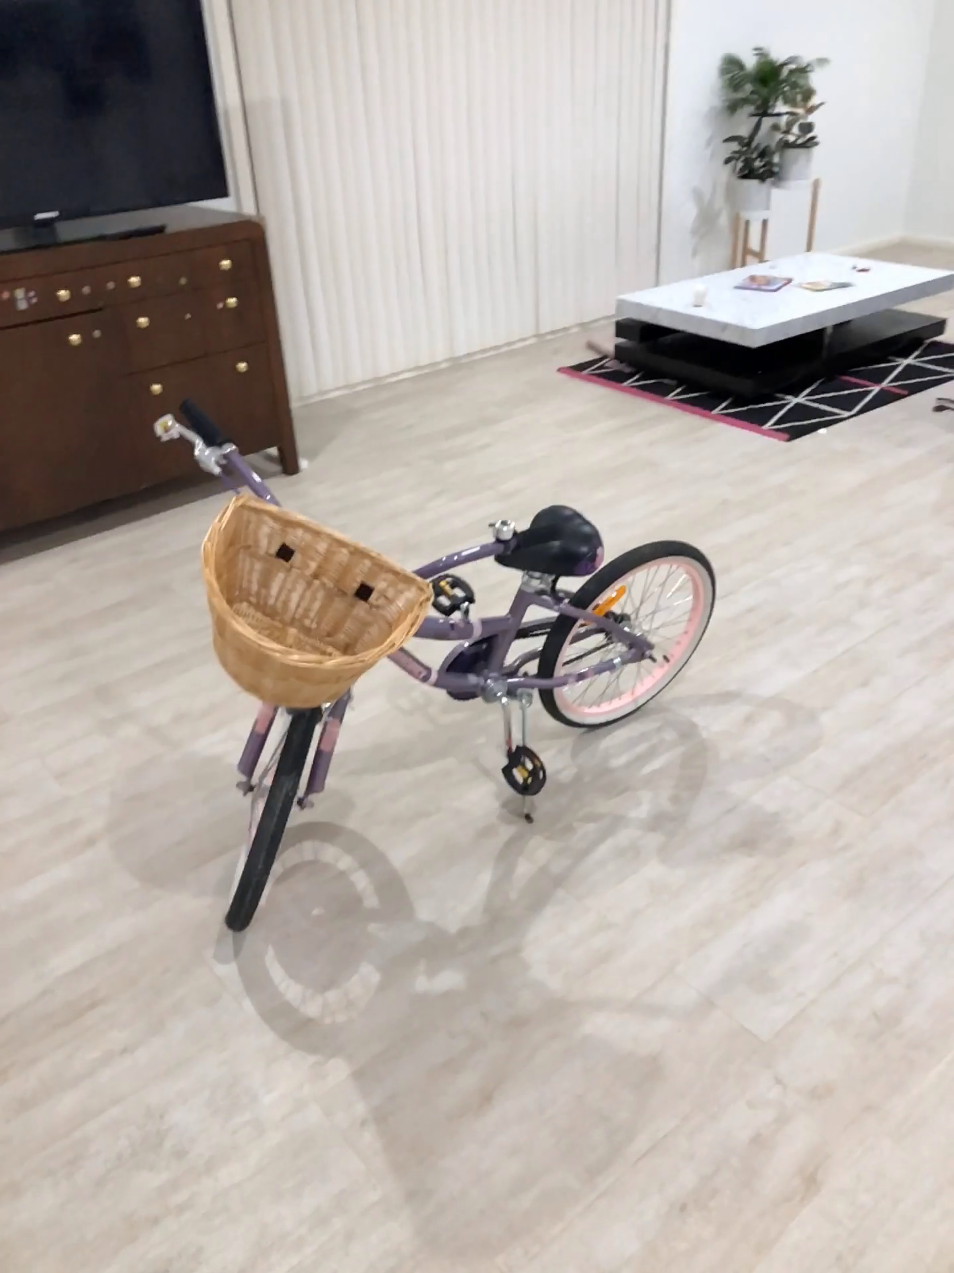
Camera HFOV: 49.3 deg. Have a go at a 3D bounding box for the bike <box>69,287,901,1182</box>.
[{"bbox_3d":[0.052,0.036,1.933,1.218,0.877,0.749,-30,39,-31],"label":"bike"}]
